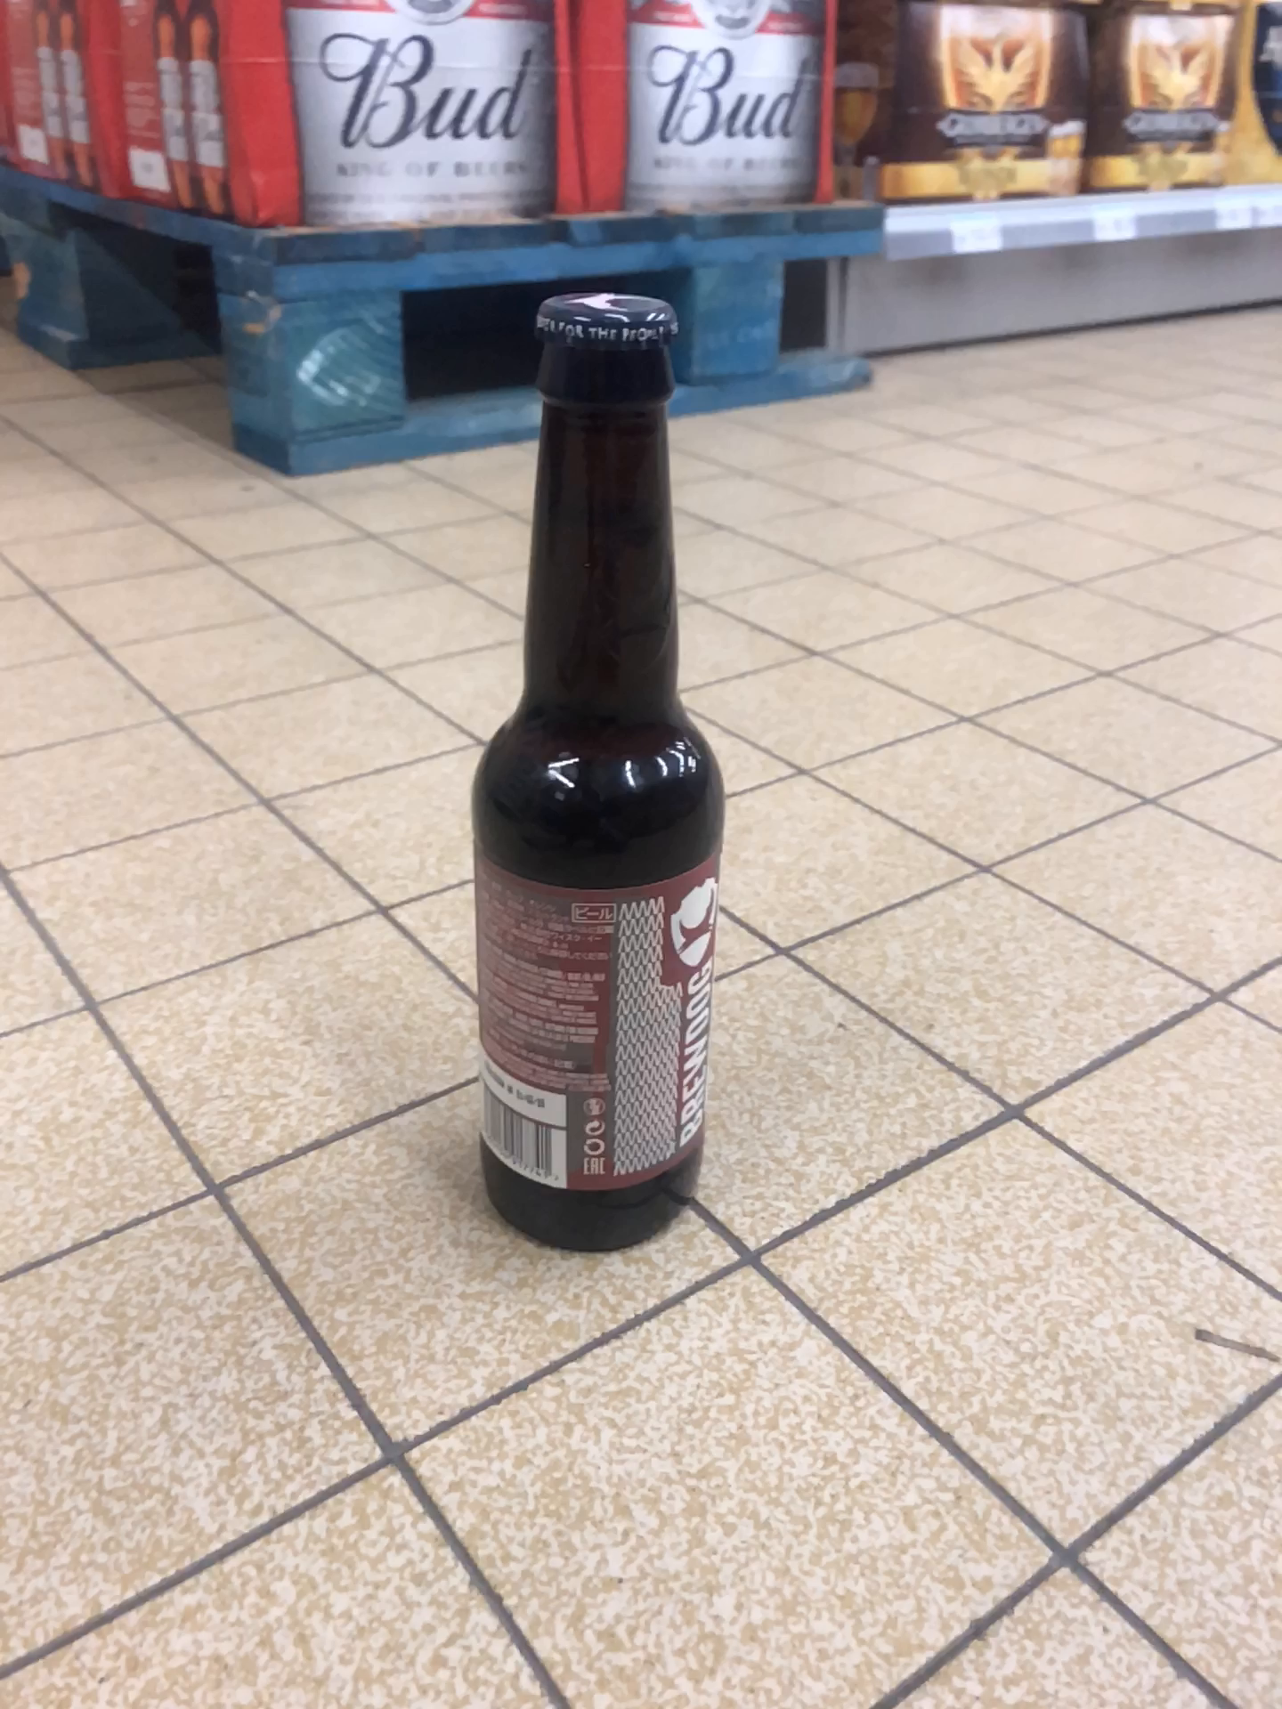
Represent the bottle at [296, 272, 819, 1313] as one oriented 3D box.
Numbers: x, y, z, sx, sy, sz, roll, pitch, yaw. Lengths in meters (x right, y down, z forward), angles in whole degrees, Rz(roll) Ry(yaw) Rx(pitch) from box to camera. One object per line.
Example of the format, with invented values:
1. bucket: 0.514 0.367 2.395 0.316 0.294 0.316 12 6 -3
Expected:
1. bottle: -0.016 -0.011 0.315 0.070 0.209 0.070 1 28 0
